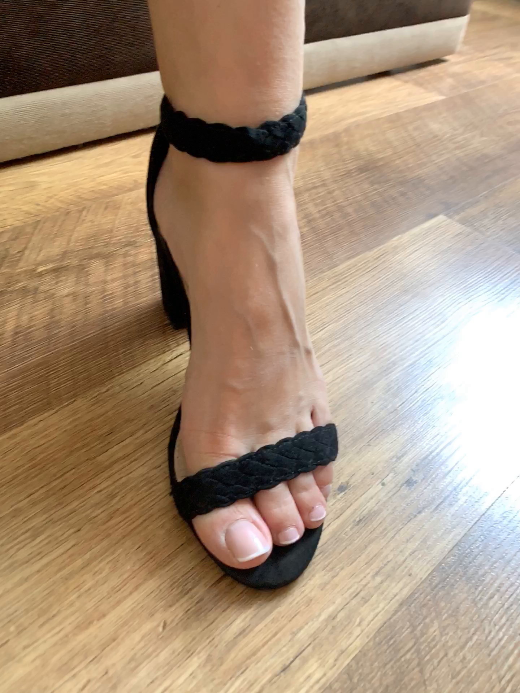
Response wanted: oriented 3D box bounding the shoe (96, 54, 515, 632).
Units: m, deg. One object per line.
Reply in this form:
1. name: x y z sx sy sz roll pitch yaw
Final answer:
1. shoe: -0.015 -0.023 0.255 0.090 0.149 0.231 -8 44 -14
